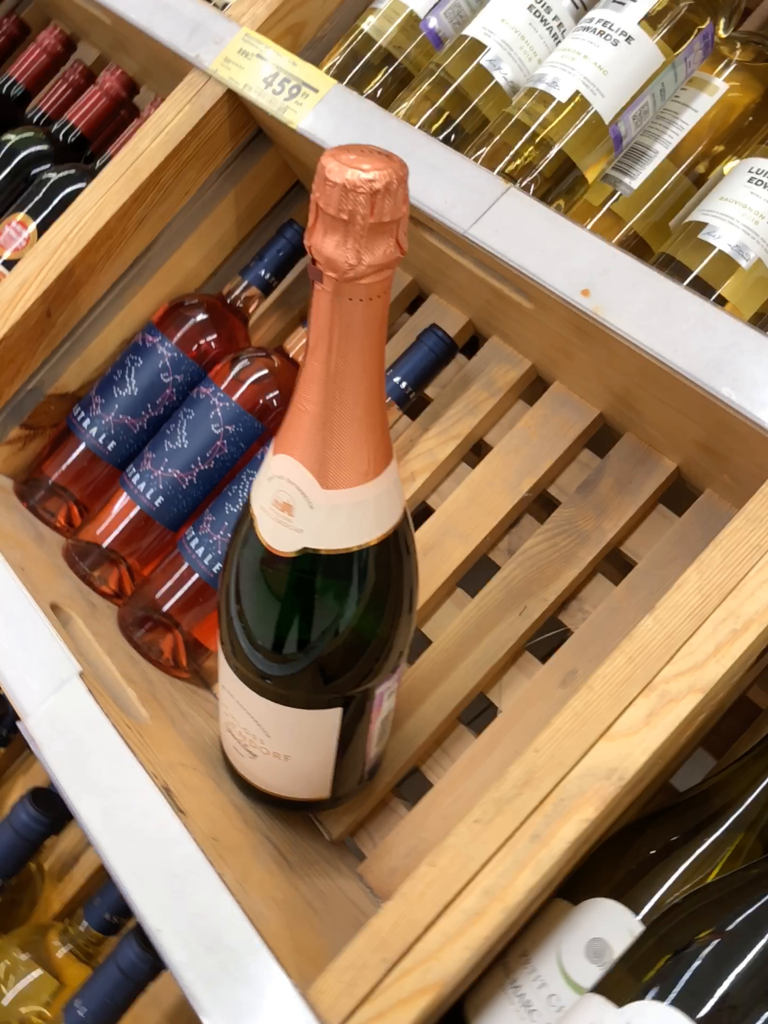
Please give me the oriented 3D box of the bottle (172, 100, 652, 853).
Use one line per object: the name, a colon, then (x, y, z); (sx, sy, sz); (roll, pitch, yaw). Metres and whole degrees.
bottle: (-0.017, 0.008, 0.422); (0.110, 0.358, 0.120); (9, 42, -8)
